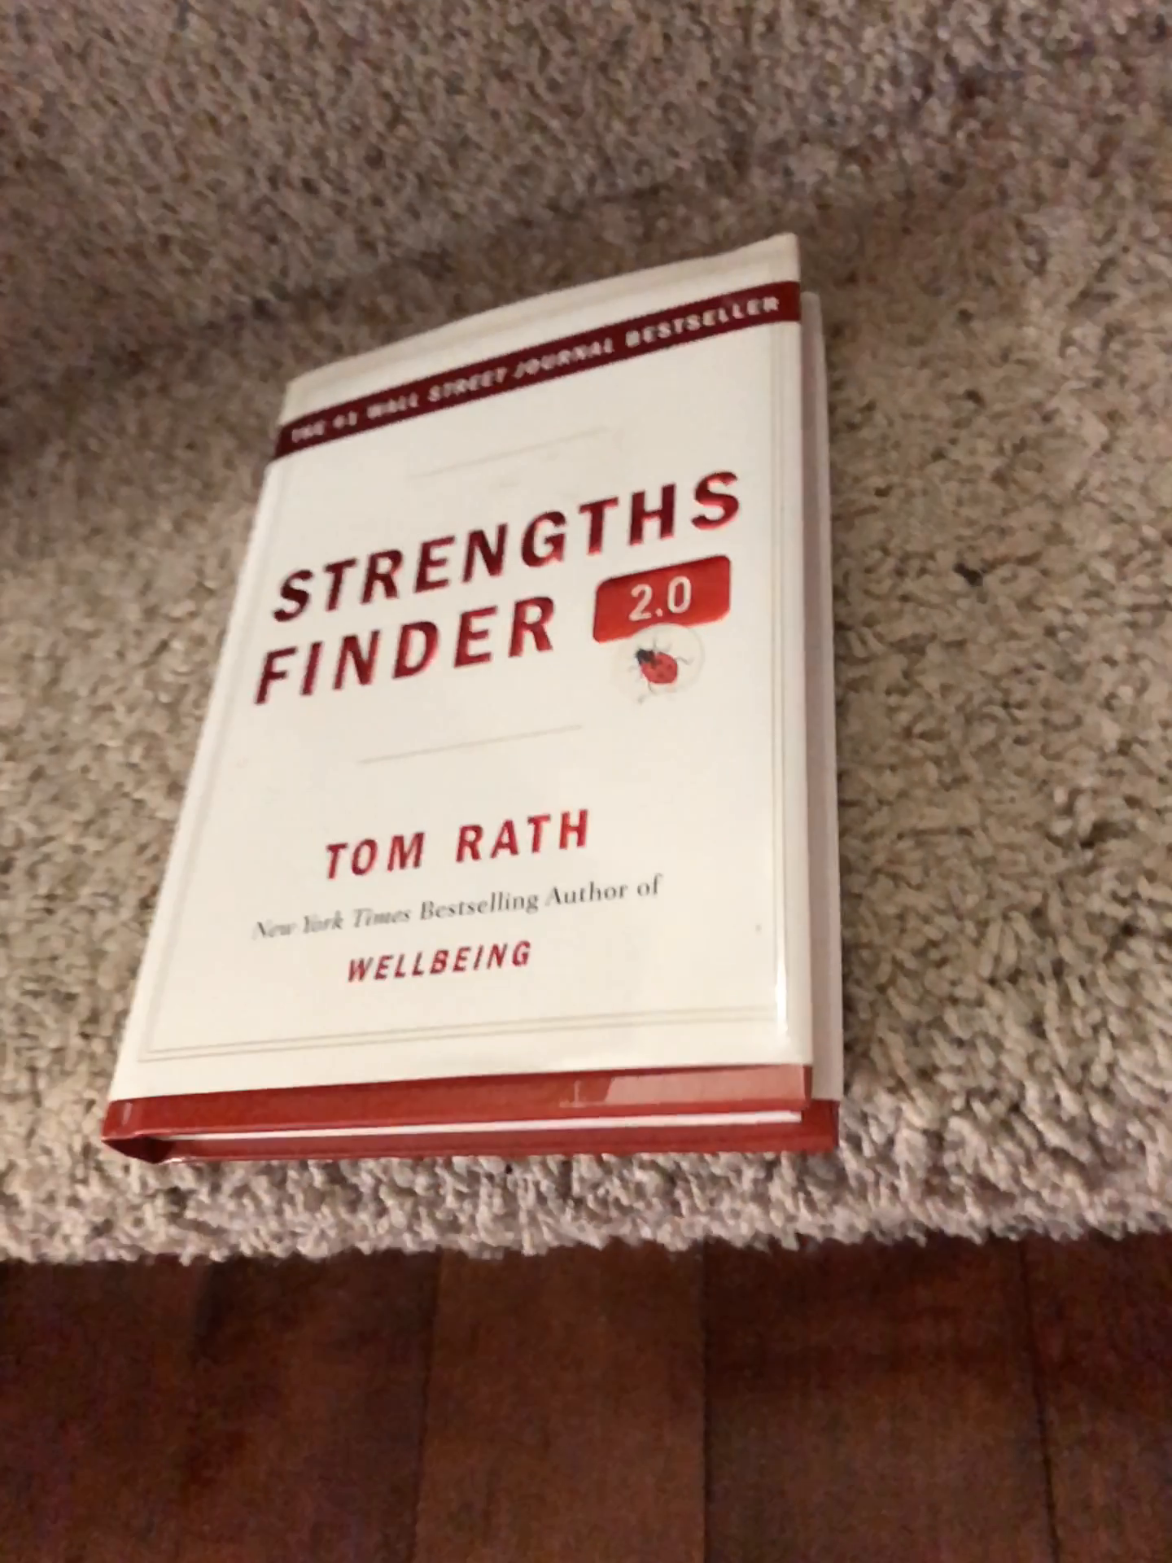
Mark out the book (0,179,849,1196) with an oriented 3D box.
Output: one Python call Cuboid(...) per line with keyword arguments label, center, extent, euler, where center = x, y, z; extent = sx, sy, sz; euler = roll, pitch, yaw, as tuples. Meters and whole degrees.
Cuboid(label="book", center=(-0.024, -0.022, 0.251), extent=(0.136, 0.029, 0.190), euler=(-8, 58, 21))
